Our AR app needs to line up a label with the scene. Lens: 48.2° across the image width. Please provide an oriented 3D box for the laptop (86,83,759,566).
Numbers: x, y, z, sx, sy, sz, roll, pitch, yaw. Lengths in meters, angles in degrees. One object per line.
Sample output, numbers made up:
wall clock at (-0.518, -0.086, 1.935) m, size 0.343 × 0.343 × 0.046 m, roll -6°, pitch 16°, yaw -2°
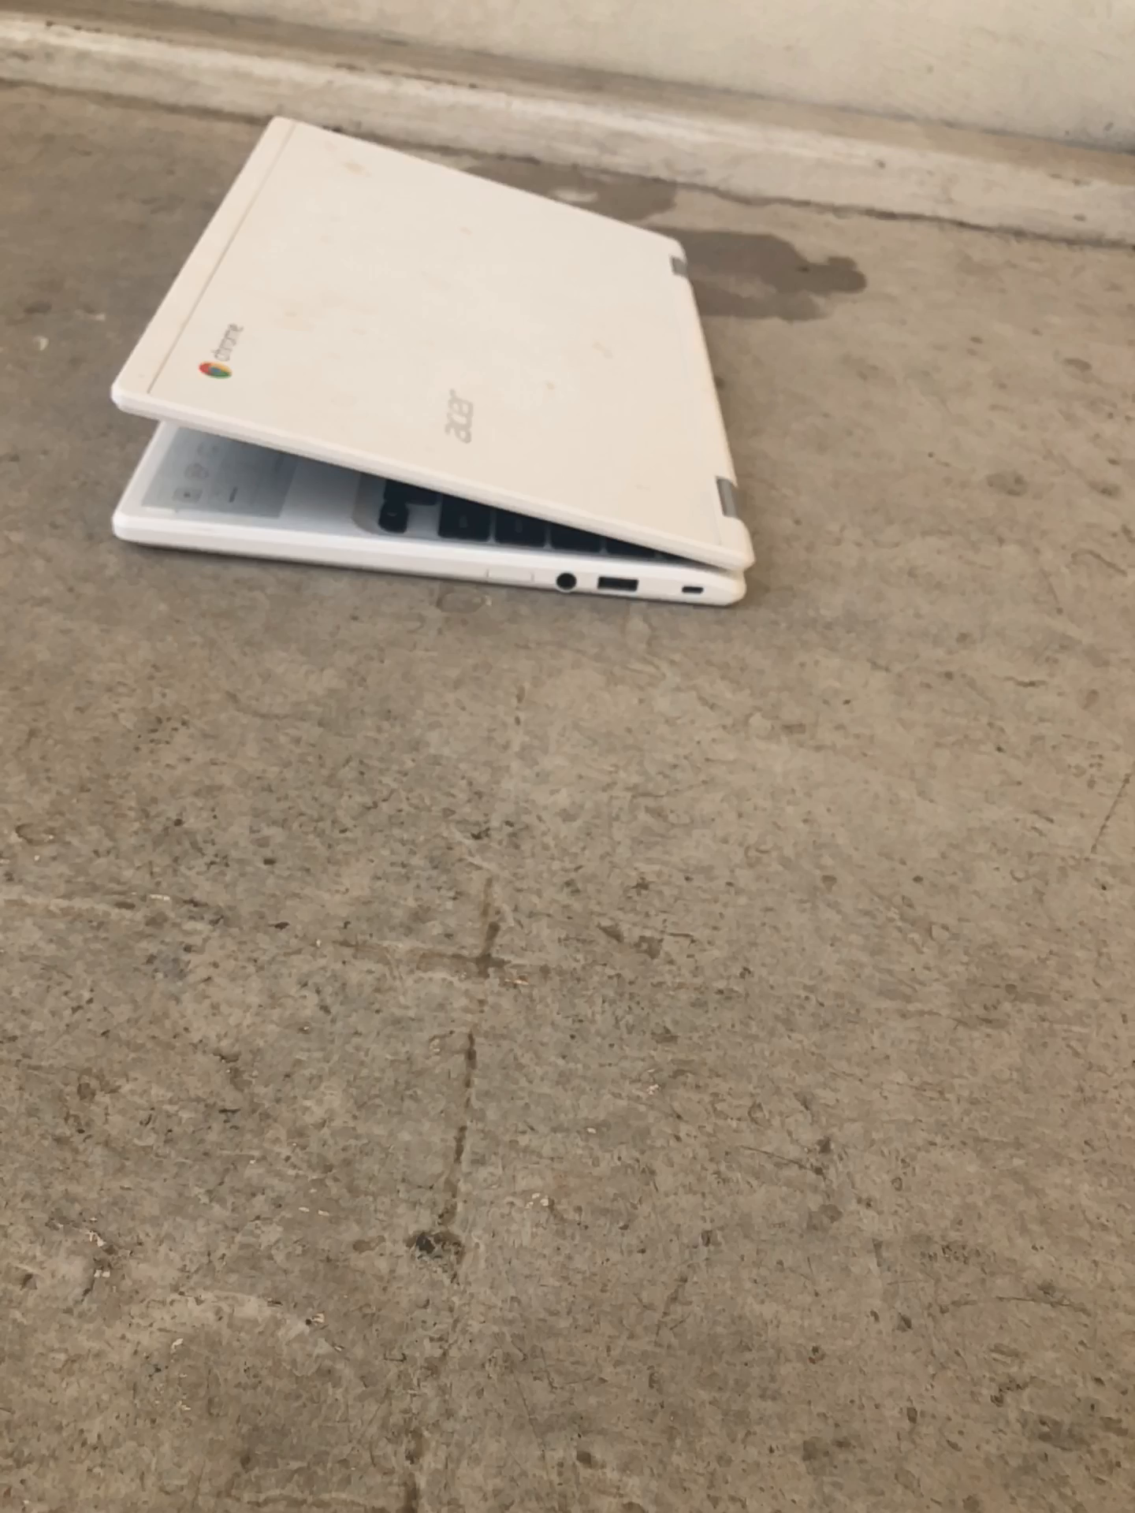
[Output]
laptop at (-0.041, -0.179, 0.479) m, size 0.190 × 0.046 × 0.280 m, roll 7°, pitch 40°, yaw -6°
